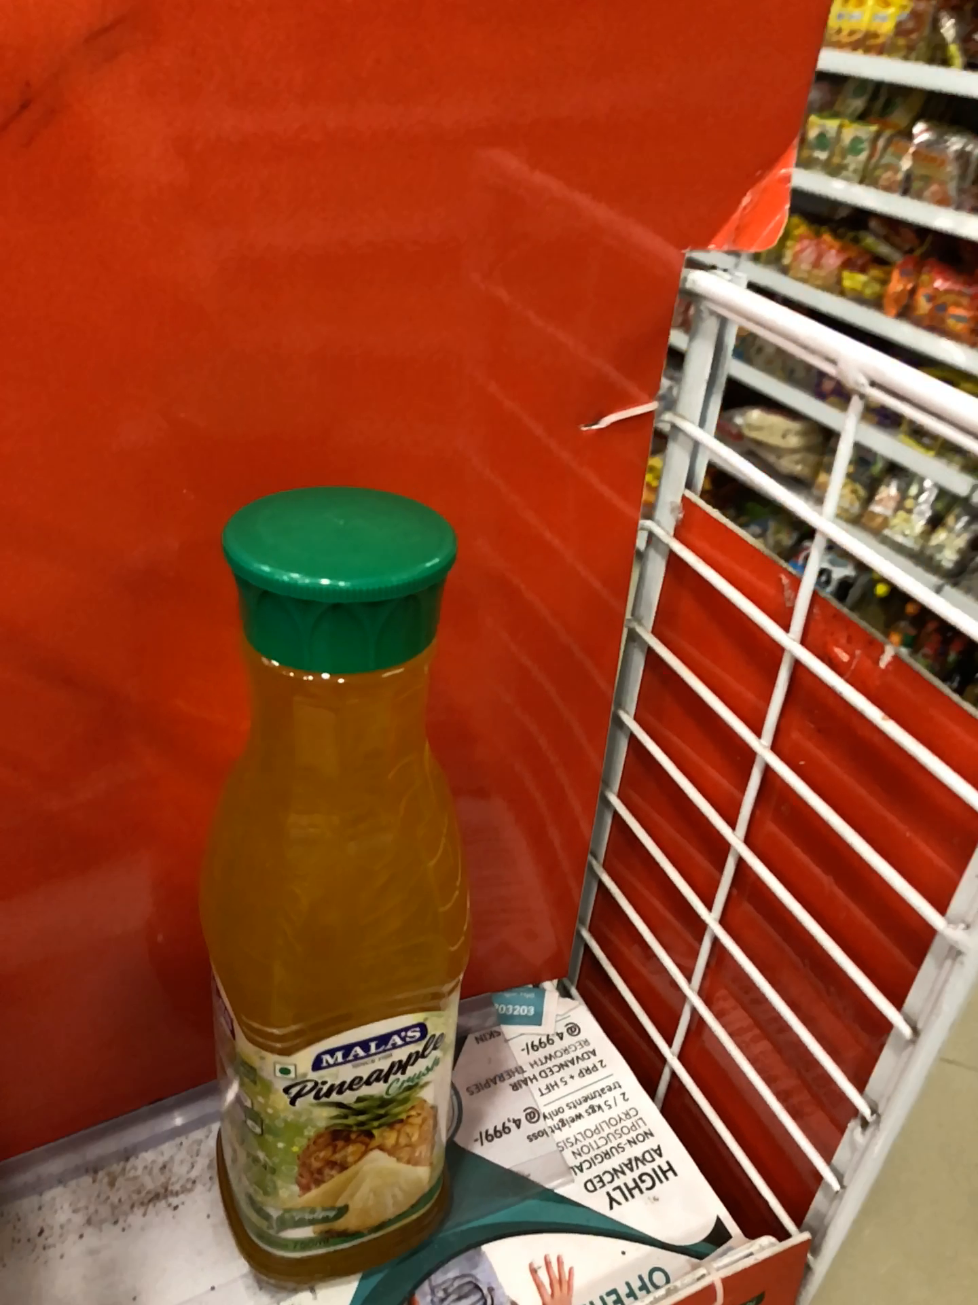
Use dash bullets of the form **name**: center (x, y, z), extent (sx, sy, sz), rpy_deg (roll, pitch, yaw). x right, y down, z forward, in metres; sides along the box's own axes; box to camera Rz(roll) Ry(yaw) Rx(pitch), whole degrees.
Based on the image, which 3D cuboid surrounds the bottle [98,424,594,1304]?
- **bottle**: center (-0.044, 0.075, 0.303), extent (0.090, 0.258, 0.070), rpy_deg (-9, 36, -22)
